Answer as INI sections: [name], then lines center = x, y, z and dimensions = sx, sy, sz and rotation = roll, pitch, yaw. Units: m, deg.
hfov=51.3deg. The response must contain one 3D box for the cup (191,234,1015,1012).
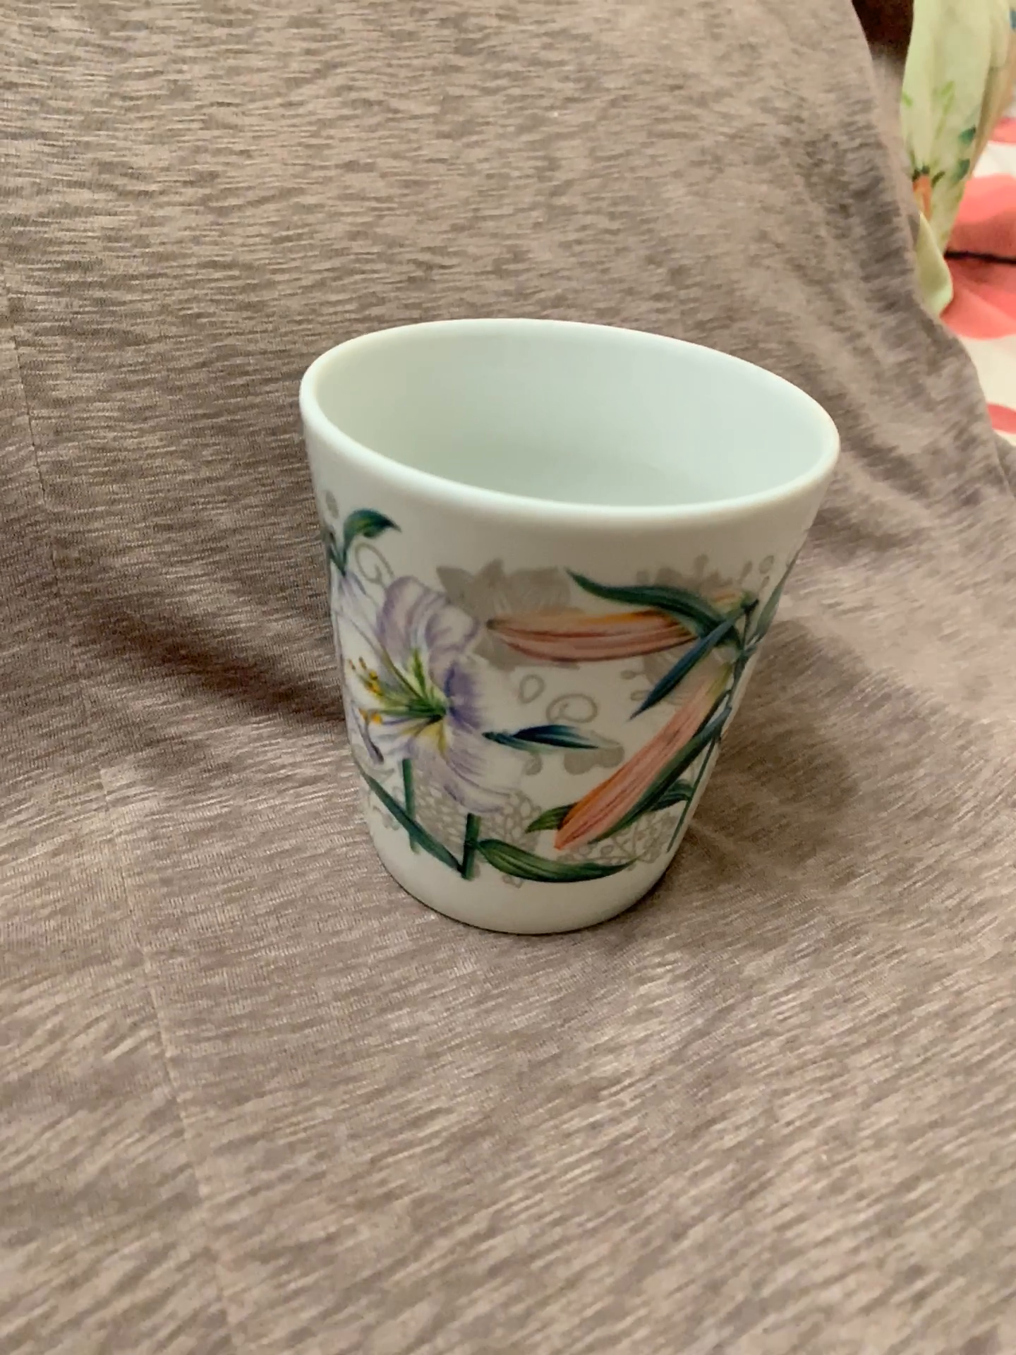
[cup]
center = 0.019, -0.022, 0.201
dimensions = 0.119, 0.088, 0.084
rotation = -21, 42, -29
